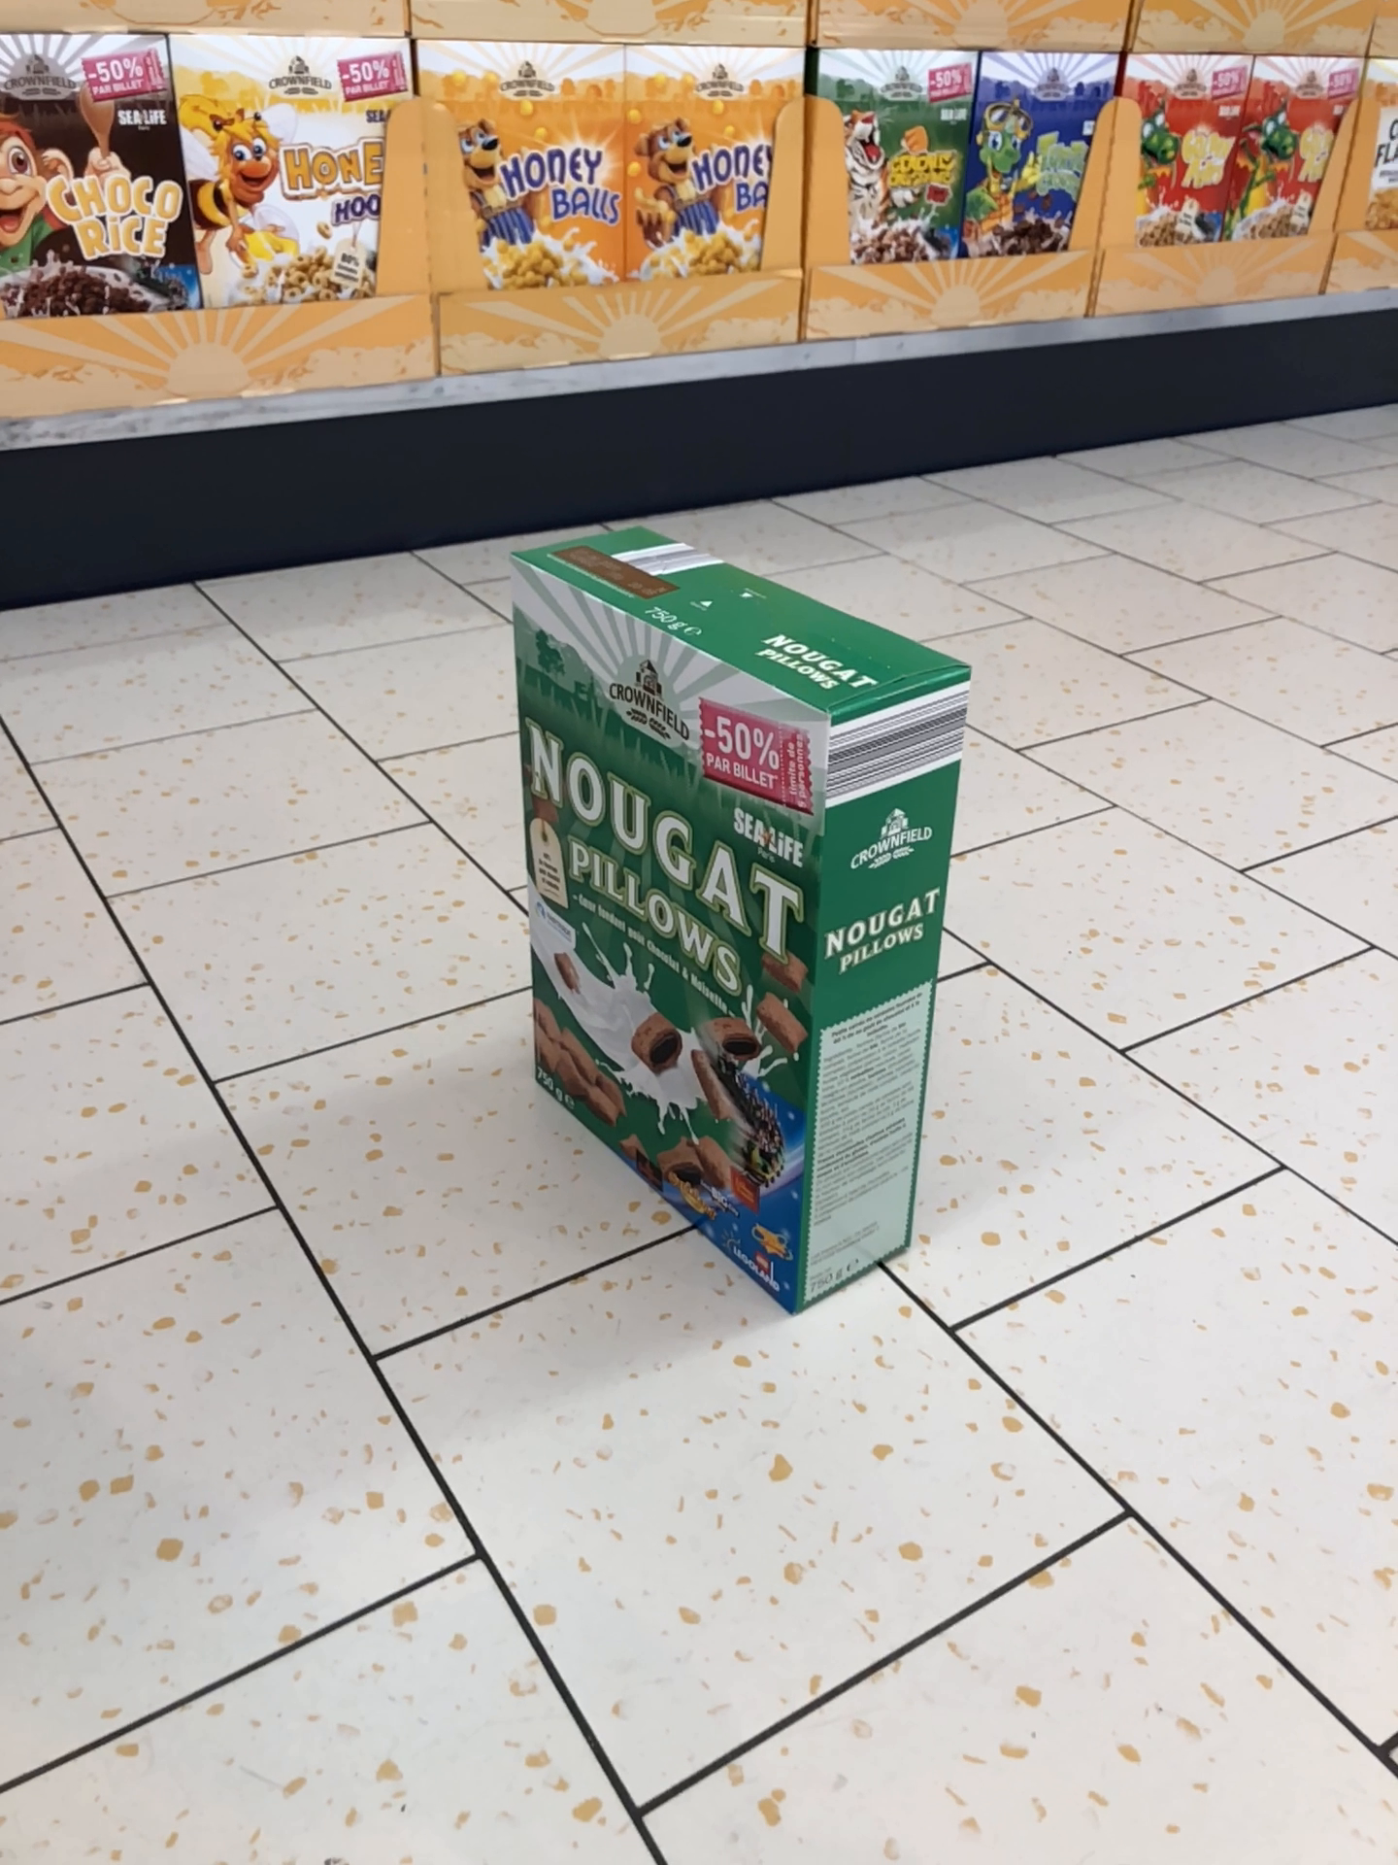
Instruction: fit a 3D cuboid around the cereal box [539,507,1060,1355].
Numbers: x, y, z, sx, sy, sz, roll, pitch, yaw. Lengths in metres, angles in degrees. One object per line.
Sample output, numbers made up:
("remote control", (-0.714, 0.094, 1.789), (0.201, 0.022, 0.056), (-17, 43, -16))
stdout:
("cereal box", (0.023, -0.006, 0.609), (0.070, 0.268, 0.200), (-20, 37, -33))
